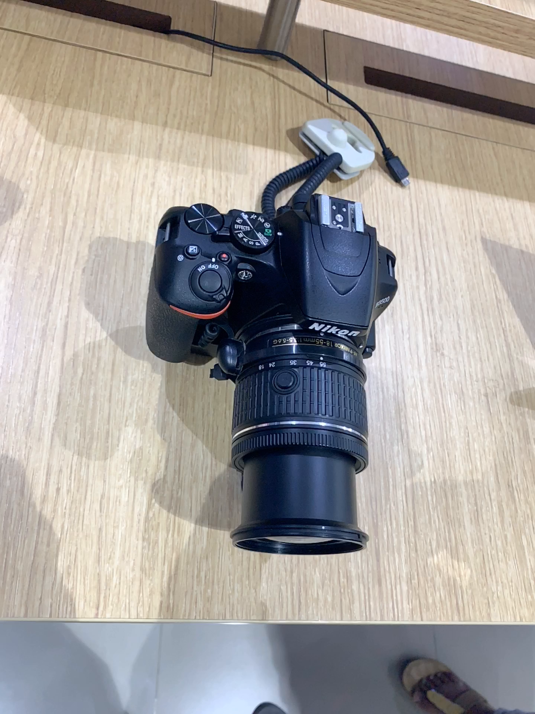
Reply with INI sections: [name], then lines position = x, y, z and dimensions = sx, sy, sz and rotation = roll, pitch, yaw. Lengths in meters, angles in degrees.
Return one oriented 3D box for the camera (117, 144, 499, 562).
[camera]
position = 0.004, 0.009, 0.233
dimensions = 0.115, 0.100, 0.136
rotation = 6, 64, -13
